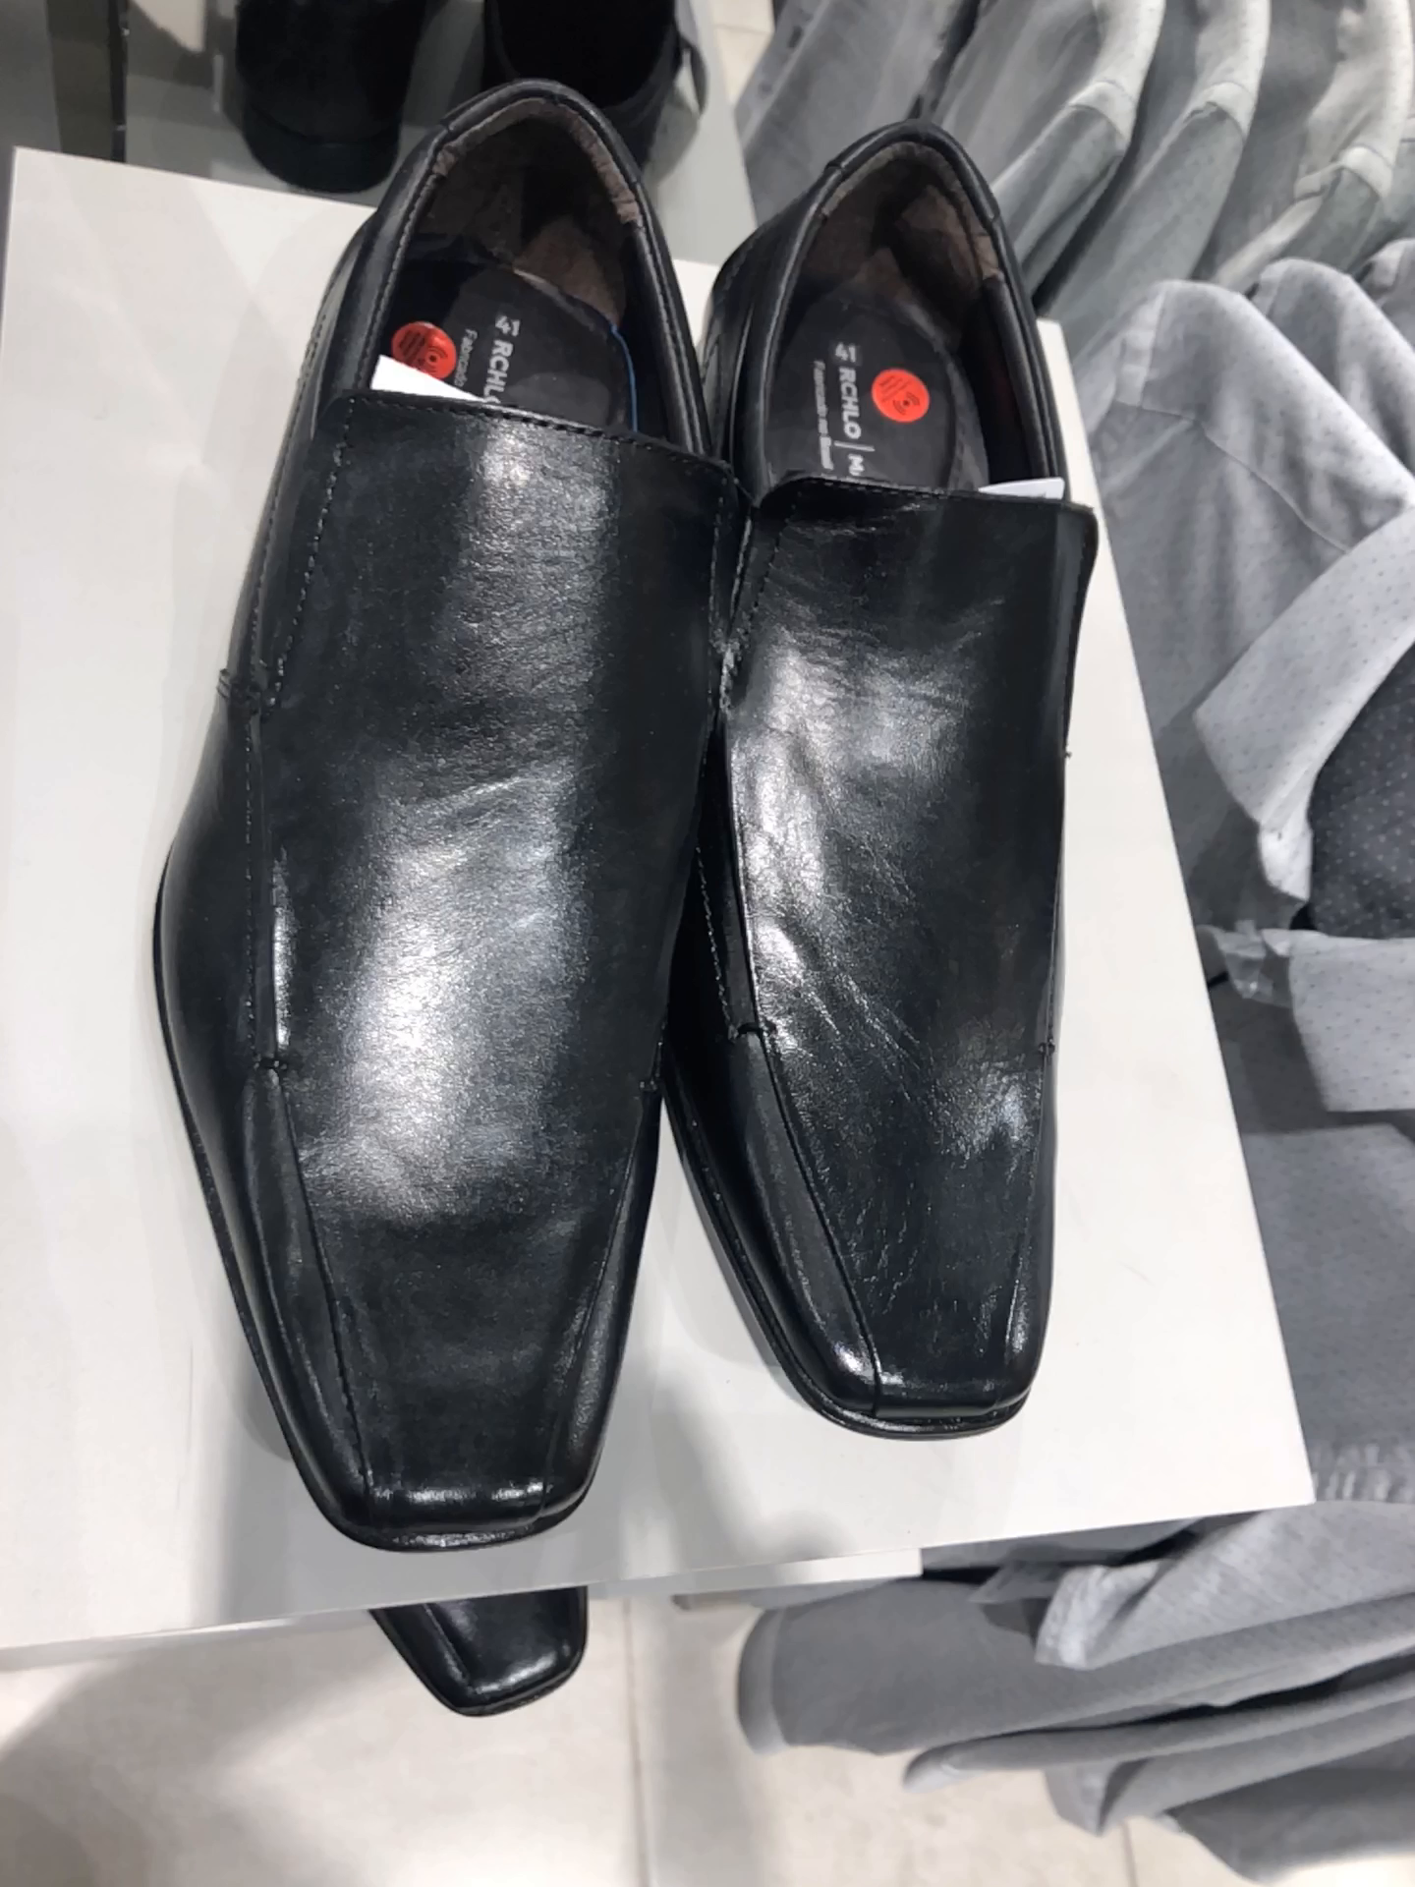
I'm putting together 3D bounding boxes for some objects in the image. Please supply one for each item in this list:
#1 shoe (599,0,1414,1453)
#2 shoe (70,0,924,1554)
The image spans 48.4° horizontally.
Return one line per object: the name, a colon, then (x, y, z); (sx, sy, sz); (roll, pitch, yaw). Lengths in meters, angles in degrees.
shoe: (0.045, -0.047, 0.326); (0.110, 0.100, 0.281); (3, 67, -15)
shoe: (-0.044, -0.048, 0.304); (0.110, 0.100, 0.301); (3, 67, -15)
